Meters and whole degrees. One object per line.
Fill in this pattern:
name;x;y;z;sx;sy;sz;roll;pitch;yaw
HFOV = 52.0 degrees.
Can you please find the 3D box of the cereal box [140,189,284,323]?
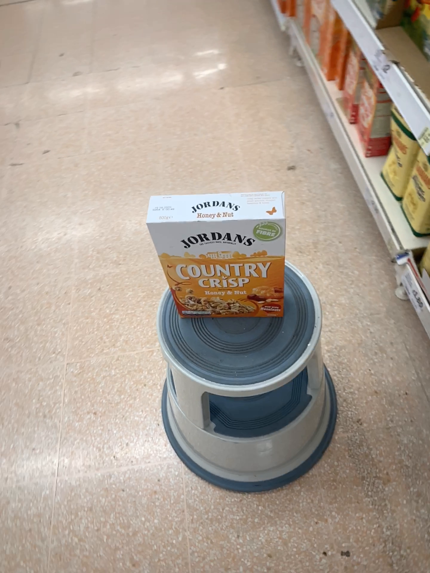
cereal box;0.009;-0.031;0.666;0.180;0.258;0.050;0;56;7
